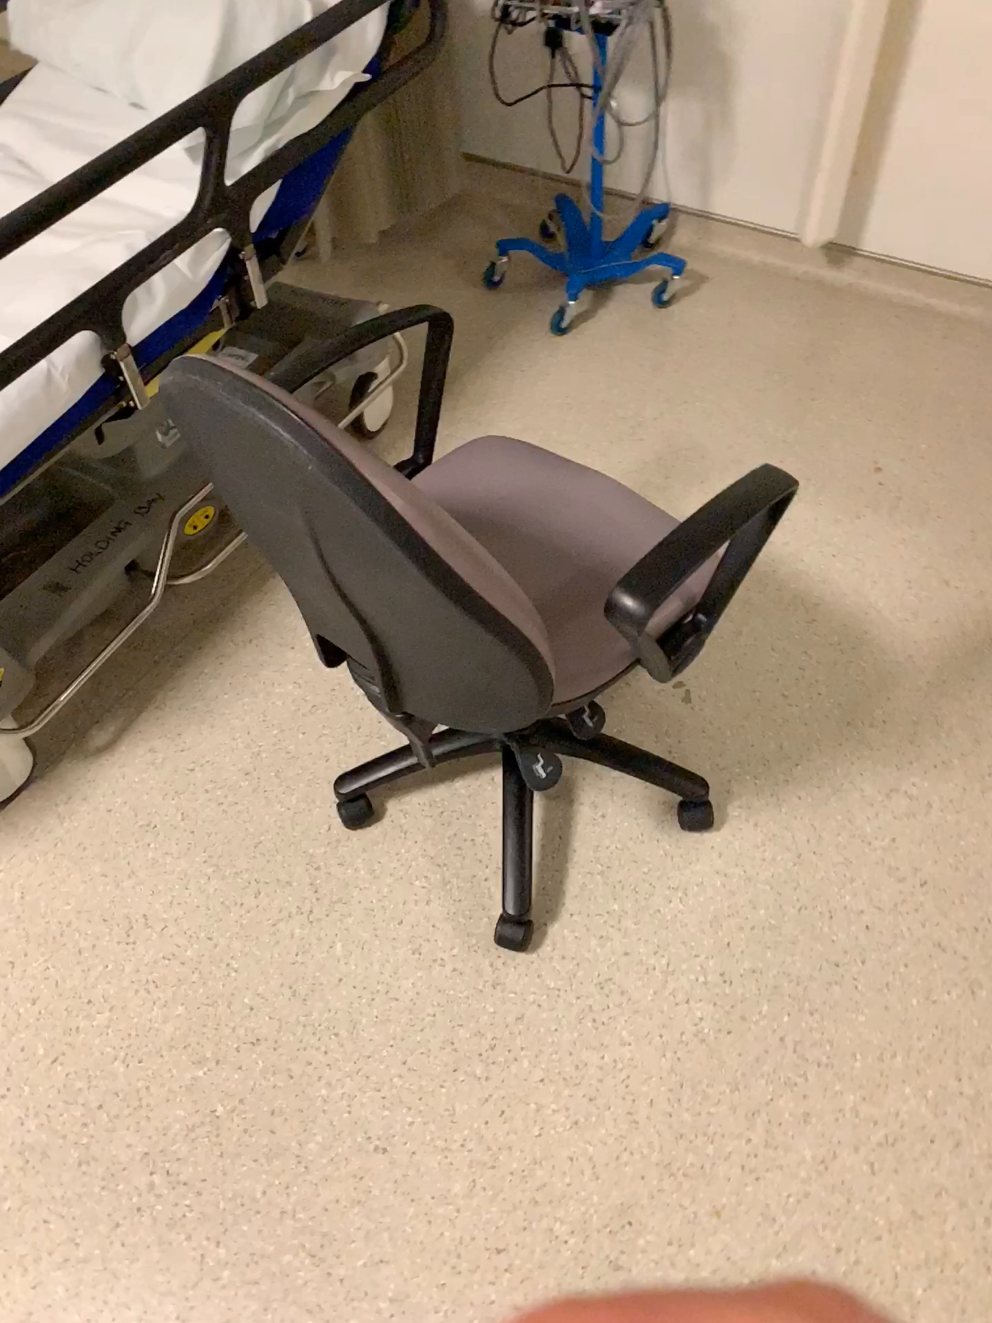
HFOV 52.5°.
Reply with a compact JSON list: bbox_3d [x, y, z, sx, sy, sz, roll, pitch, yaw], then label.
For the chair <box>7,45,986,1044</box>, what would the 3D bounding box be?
[{"bbox_3d":[0.021,-0.141,1.326,0.653,0.883,0.712,36,60,28],"label":"chair"}]
